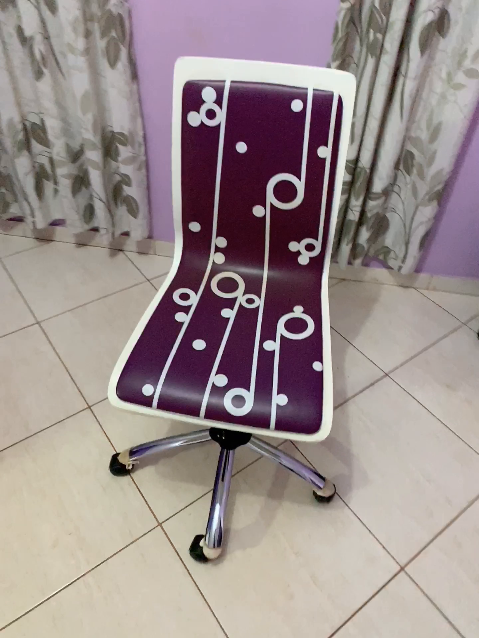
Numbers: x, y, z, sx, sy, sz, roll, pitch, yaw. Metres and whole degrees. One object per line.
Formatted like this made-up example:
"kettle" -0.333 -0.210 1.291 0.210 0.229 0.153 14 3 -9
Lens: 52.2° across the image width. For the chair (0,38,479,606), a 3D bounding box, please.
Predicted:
"chair" -0.019 0.057 1.090 0.685 1.005 0.626 11 44 7
